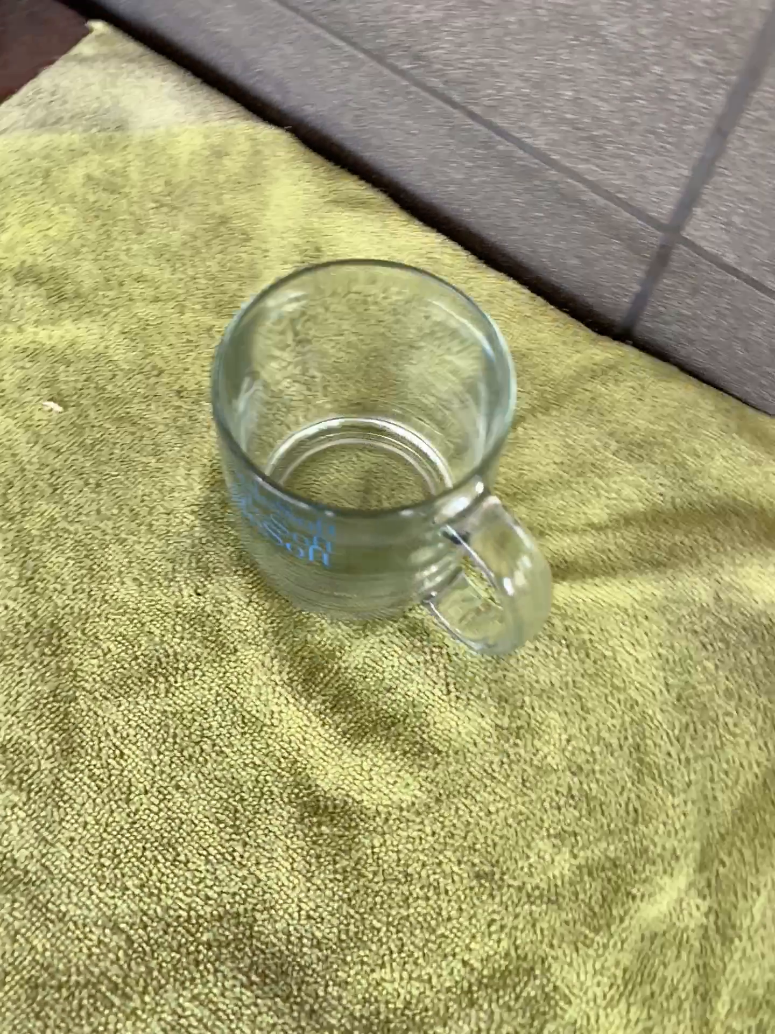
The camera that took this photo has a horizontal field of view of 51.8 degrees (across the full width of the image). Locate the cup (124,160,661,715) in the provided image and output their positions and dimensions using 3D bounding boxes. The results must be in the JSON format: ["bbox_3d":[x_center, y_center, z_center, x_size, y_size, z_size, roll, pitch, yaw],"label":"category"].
[{"bbox_3d":[-0.003,-0.020,0.252,0.080,0.100,0.120,-38,72,-19],"label":"cup"}]
